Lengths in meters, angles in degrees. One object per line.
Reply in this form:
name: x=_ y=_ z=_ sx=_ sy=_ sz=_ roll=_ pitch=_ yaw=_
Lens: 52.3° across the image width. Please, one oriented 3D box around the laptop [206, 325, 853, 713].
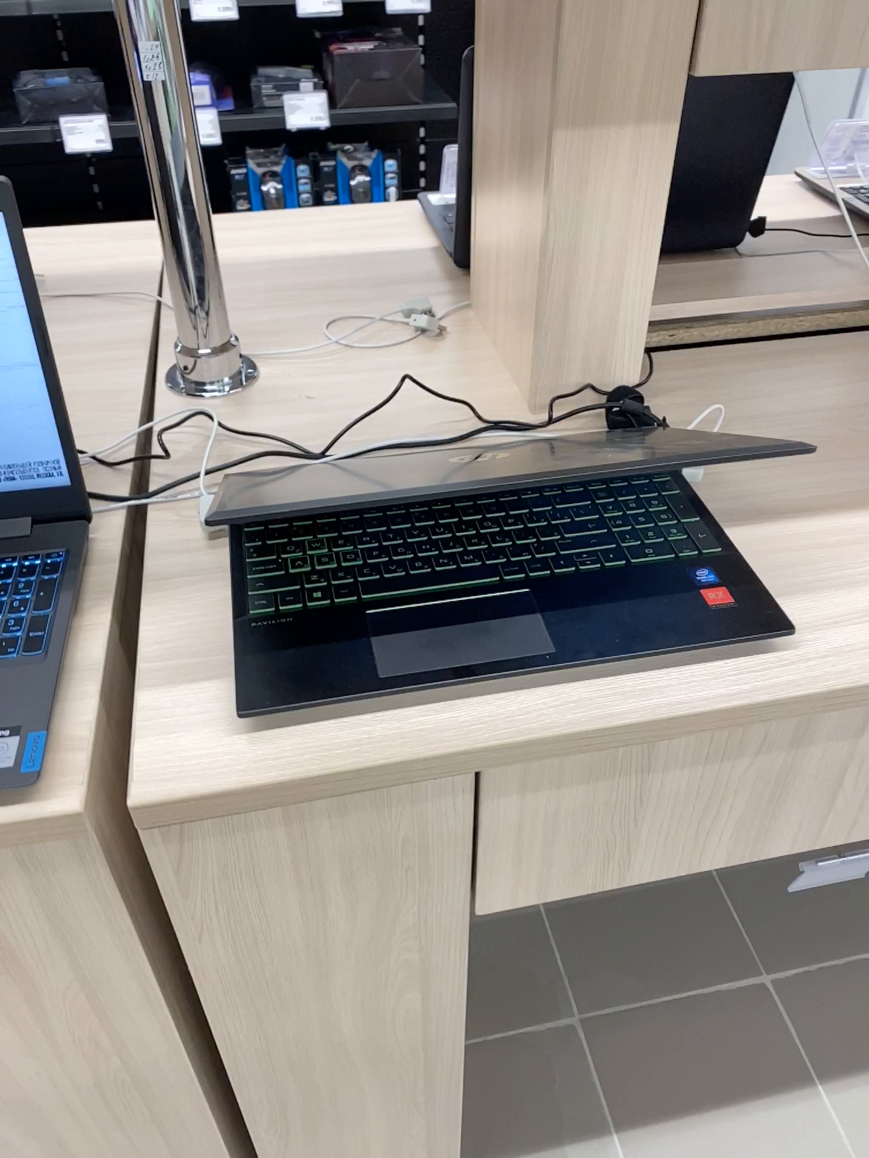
laptop: x=0.039 y=-0.059 z=0.606 sx=0.364 sy=0.108 sz=0.236 roll=-7 pitch=40 yaw=-9
